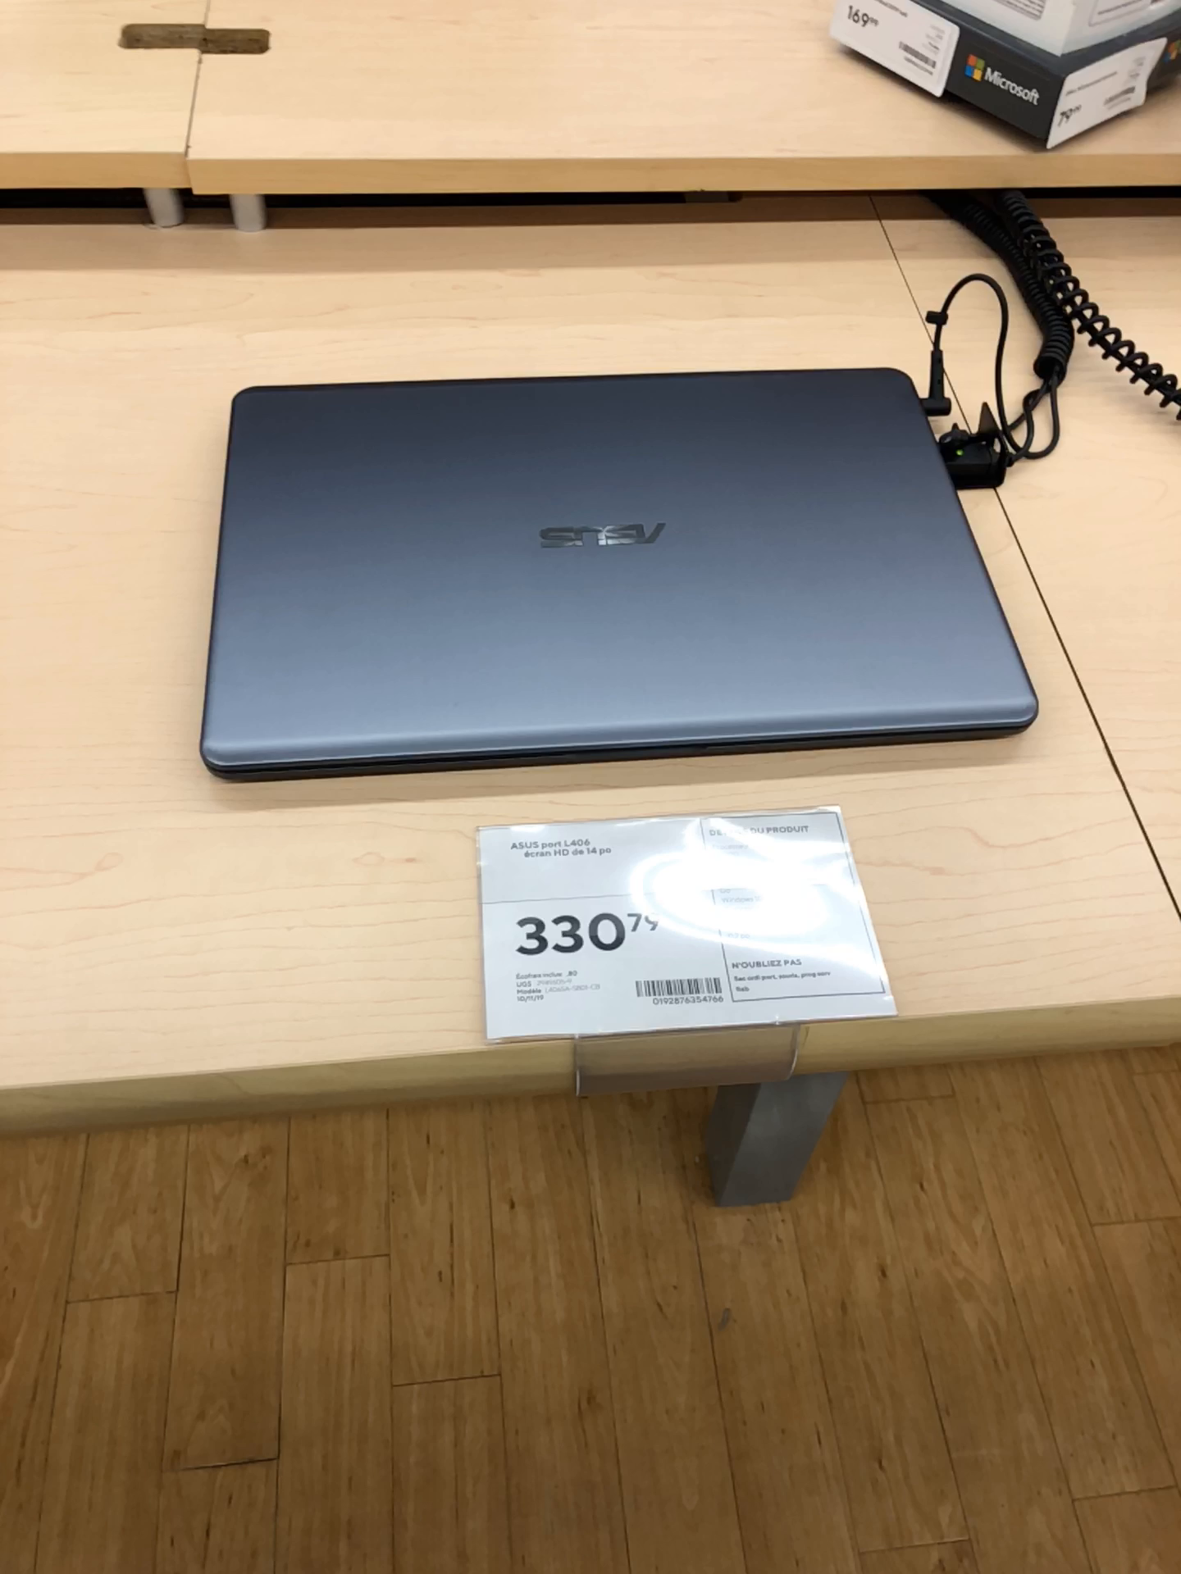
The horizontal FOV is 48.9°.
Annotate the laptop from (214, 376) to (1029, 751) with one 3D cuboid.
[{"bbox_3d":[0.005,-0.108,0.564,0.318,0.001,0.211,-3,54,-5],"label":"laptop"}]
